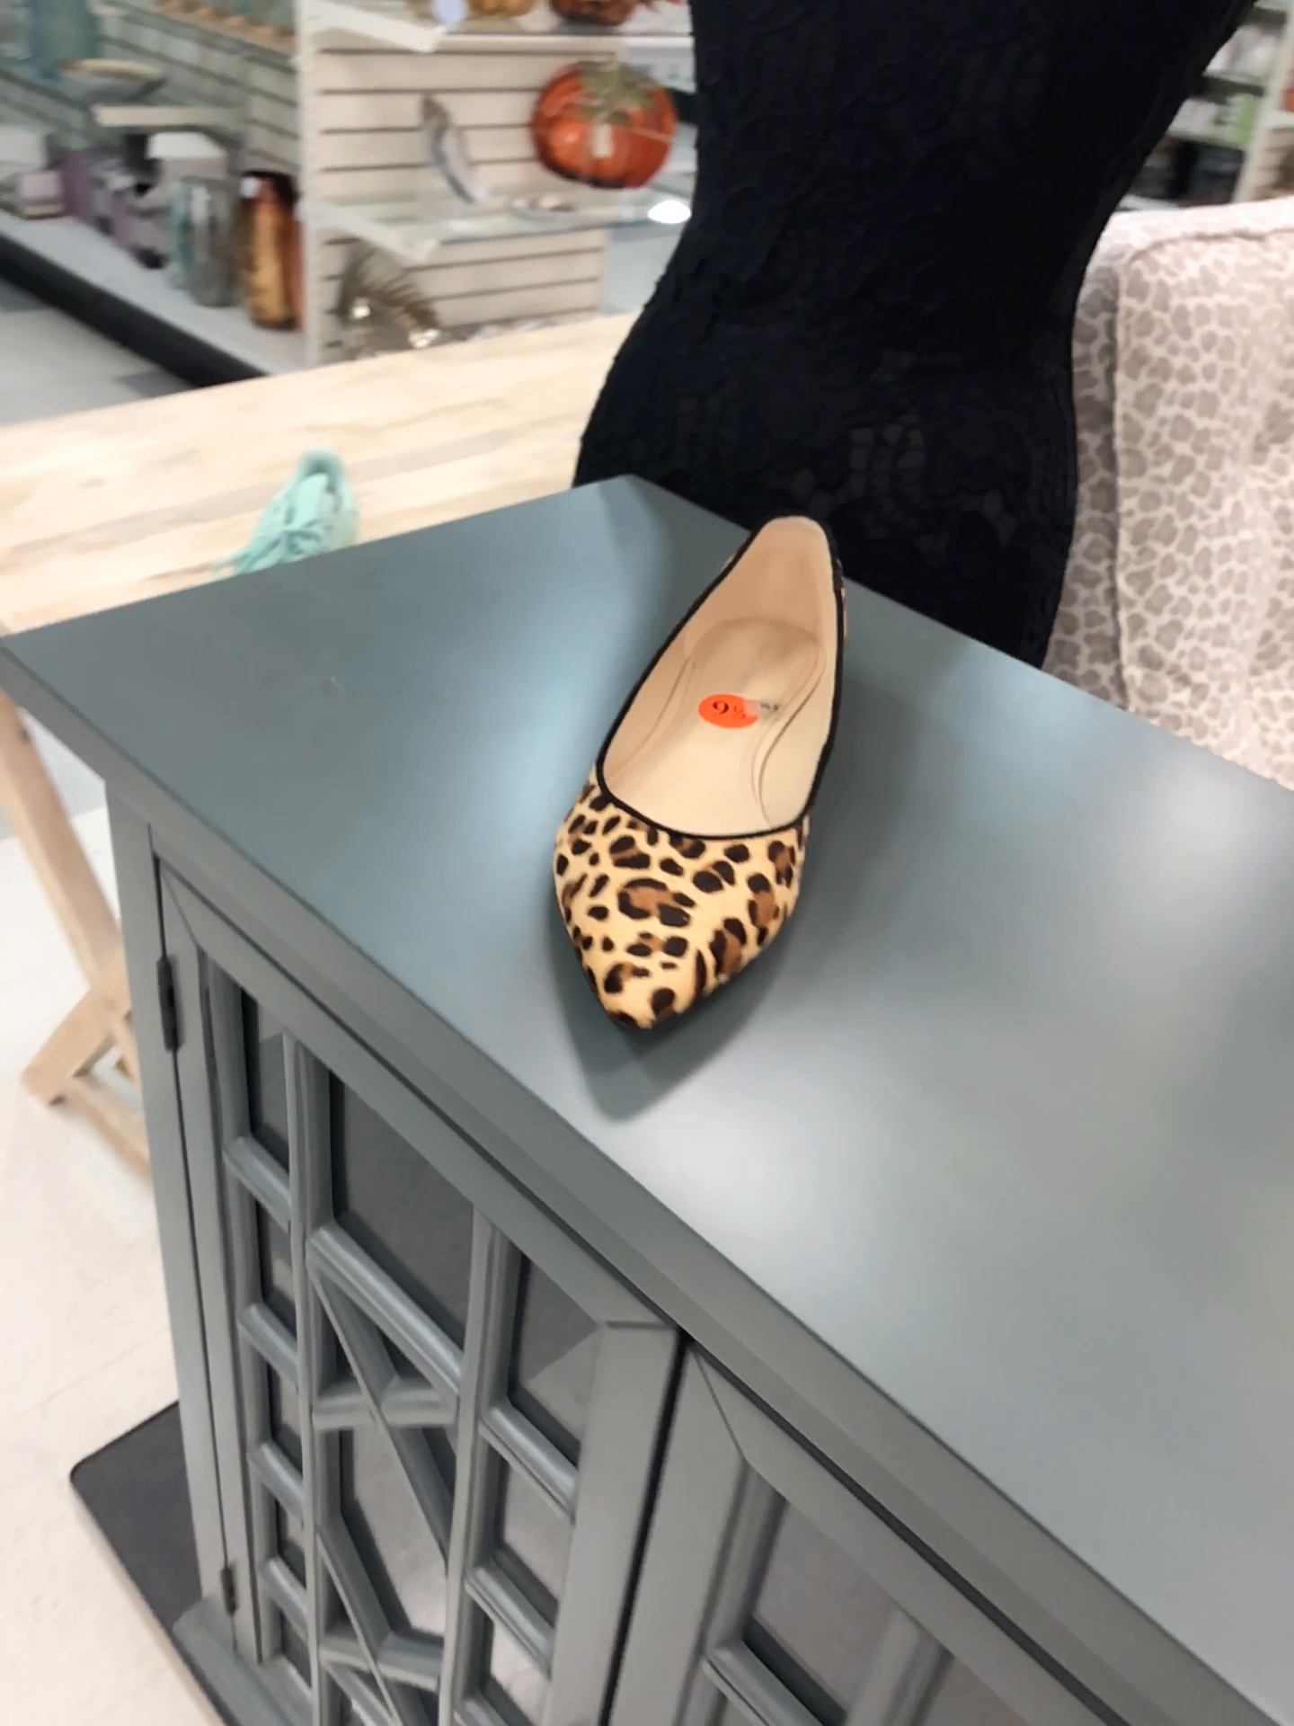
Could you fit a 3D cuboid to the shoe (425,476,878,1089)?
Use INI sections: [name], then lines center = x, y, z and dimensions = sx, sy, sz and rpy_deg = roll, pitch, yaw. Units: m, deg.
[shoe]
center = 0.016, -0.051, 0.524
dimensions = 0.097, 0.073, 0.287
rpy_deg = 13, 35, 7
